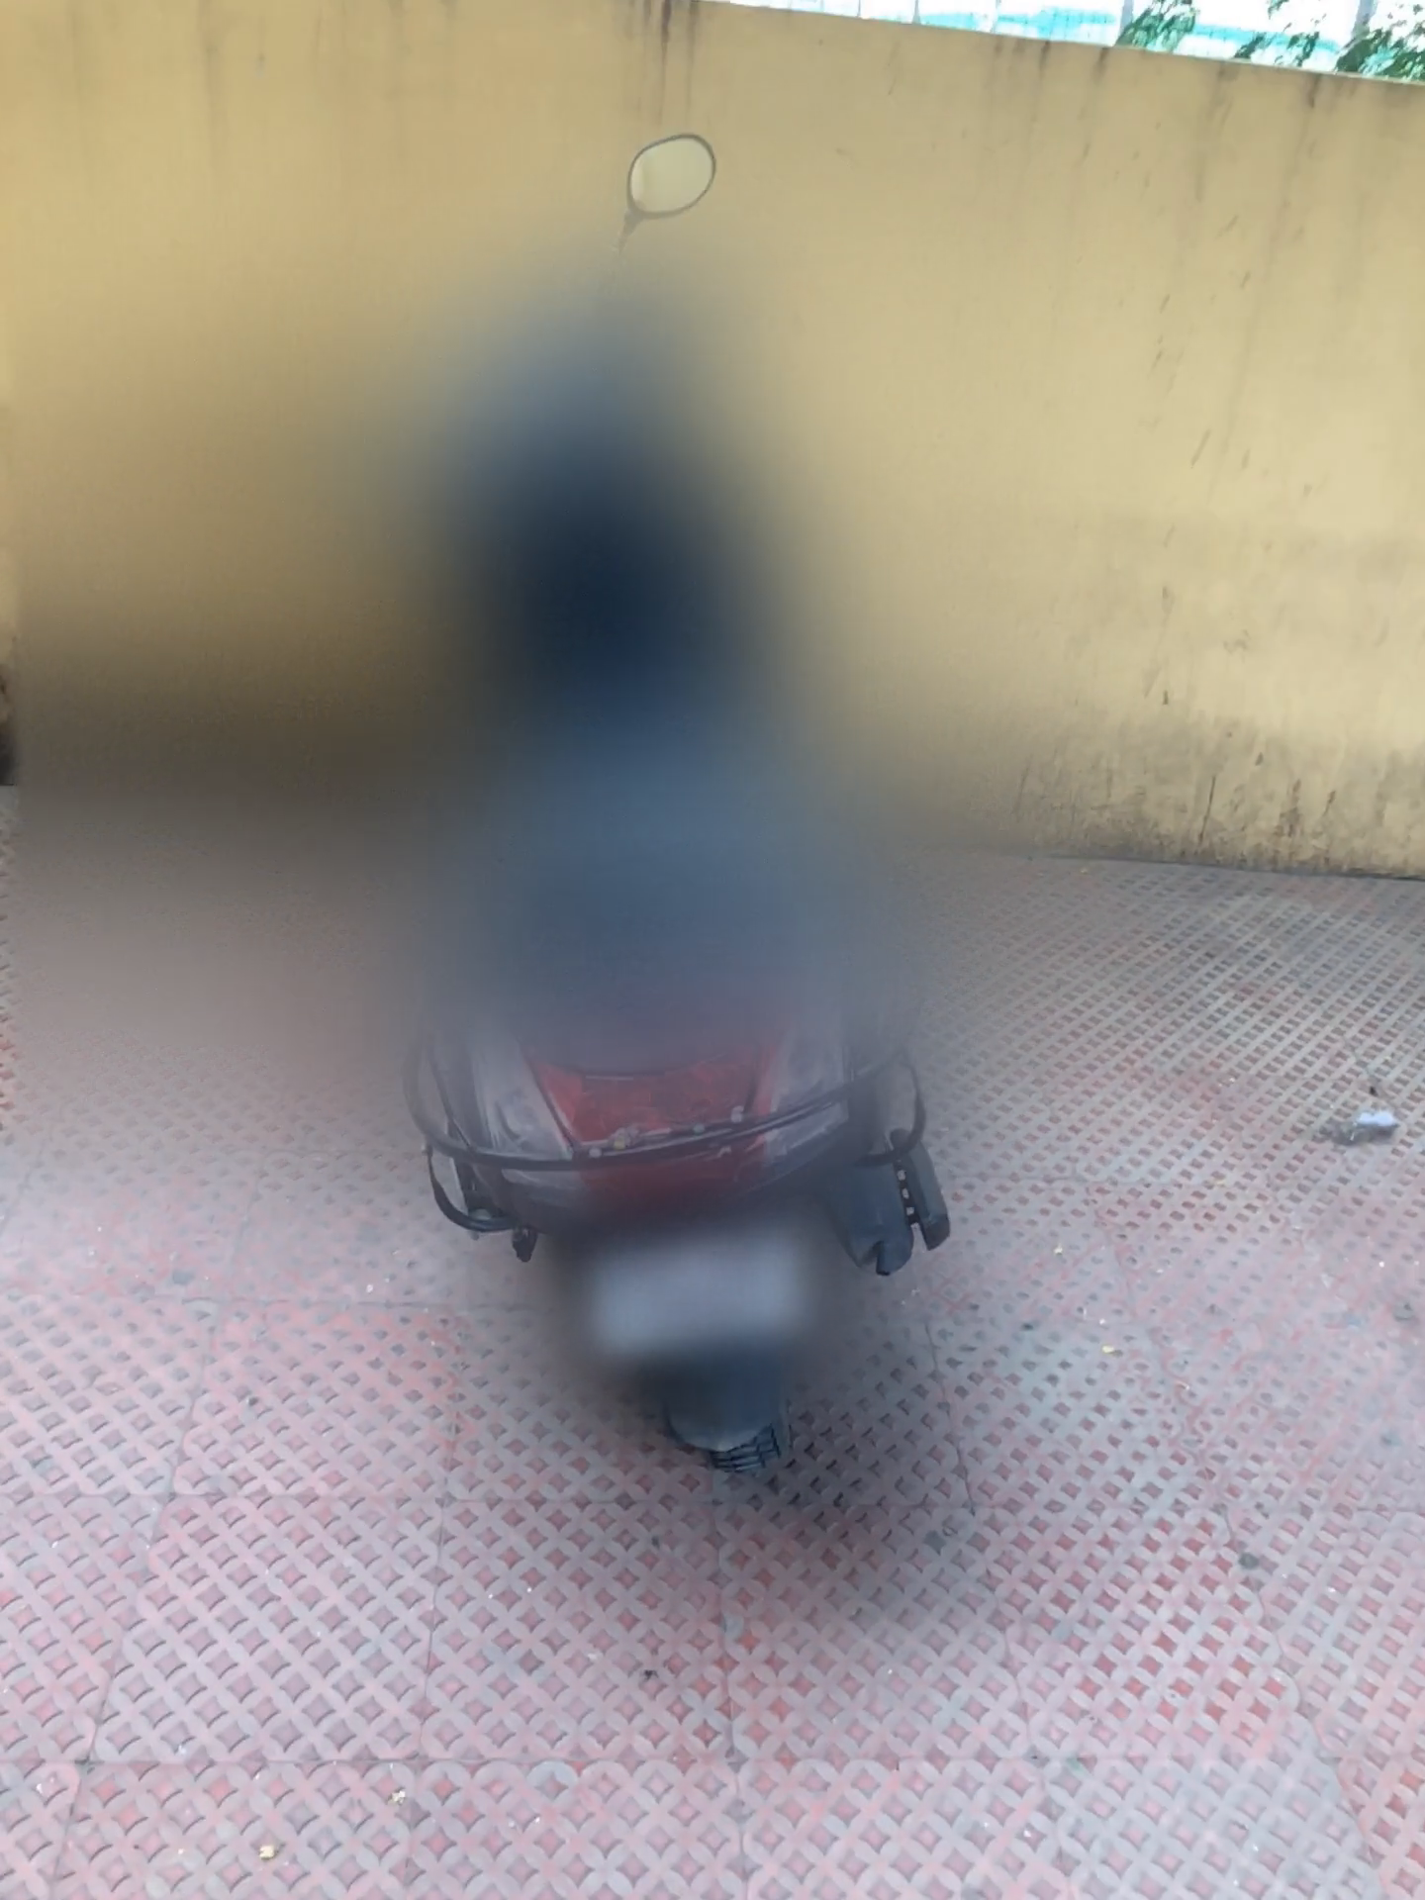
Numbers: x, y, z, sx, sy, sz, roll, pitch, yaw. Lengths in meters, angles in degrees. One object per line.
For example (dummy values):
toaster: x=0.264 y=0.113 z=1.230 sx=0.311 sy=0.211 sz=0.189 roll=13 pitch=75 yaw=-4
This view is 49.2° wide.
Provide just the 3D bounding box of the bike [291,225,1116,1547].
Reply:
bike: x=-0.167 y=-0.259 z=2.031 sx=0.593 sy=1.044 sz=1.593 roll=0 pitch=30 yaw=-11
